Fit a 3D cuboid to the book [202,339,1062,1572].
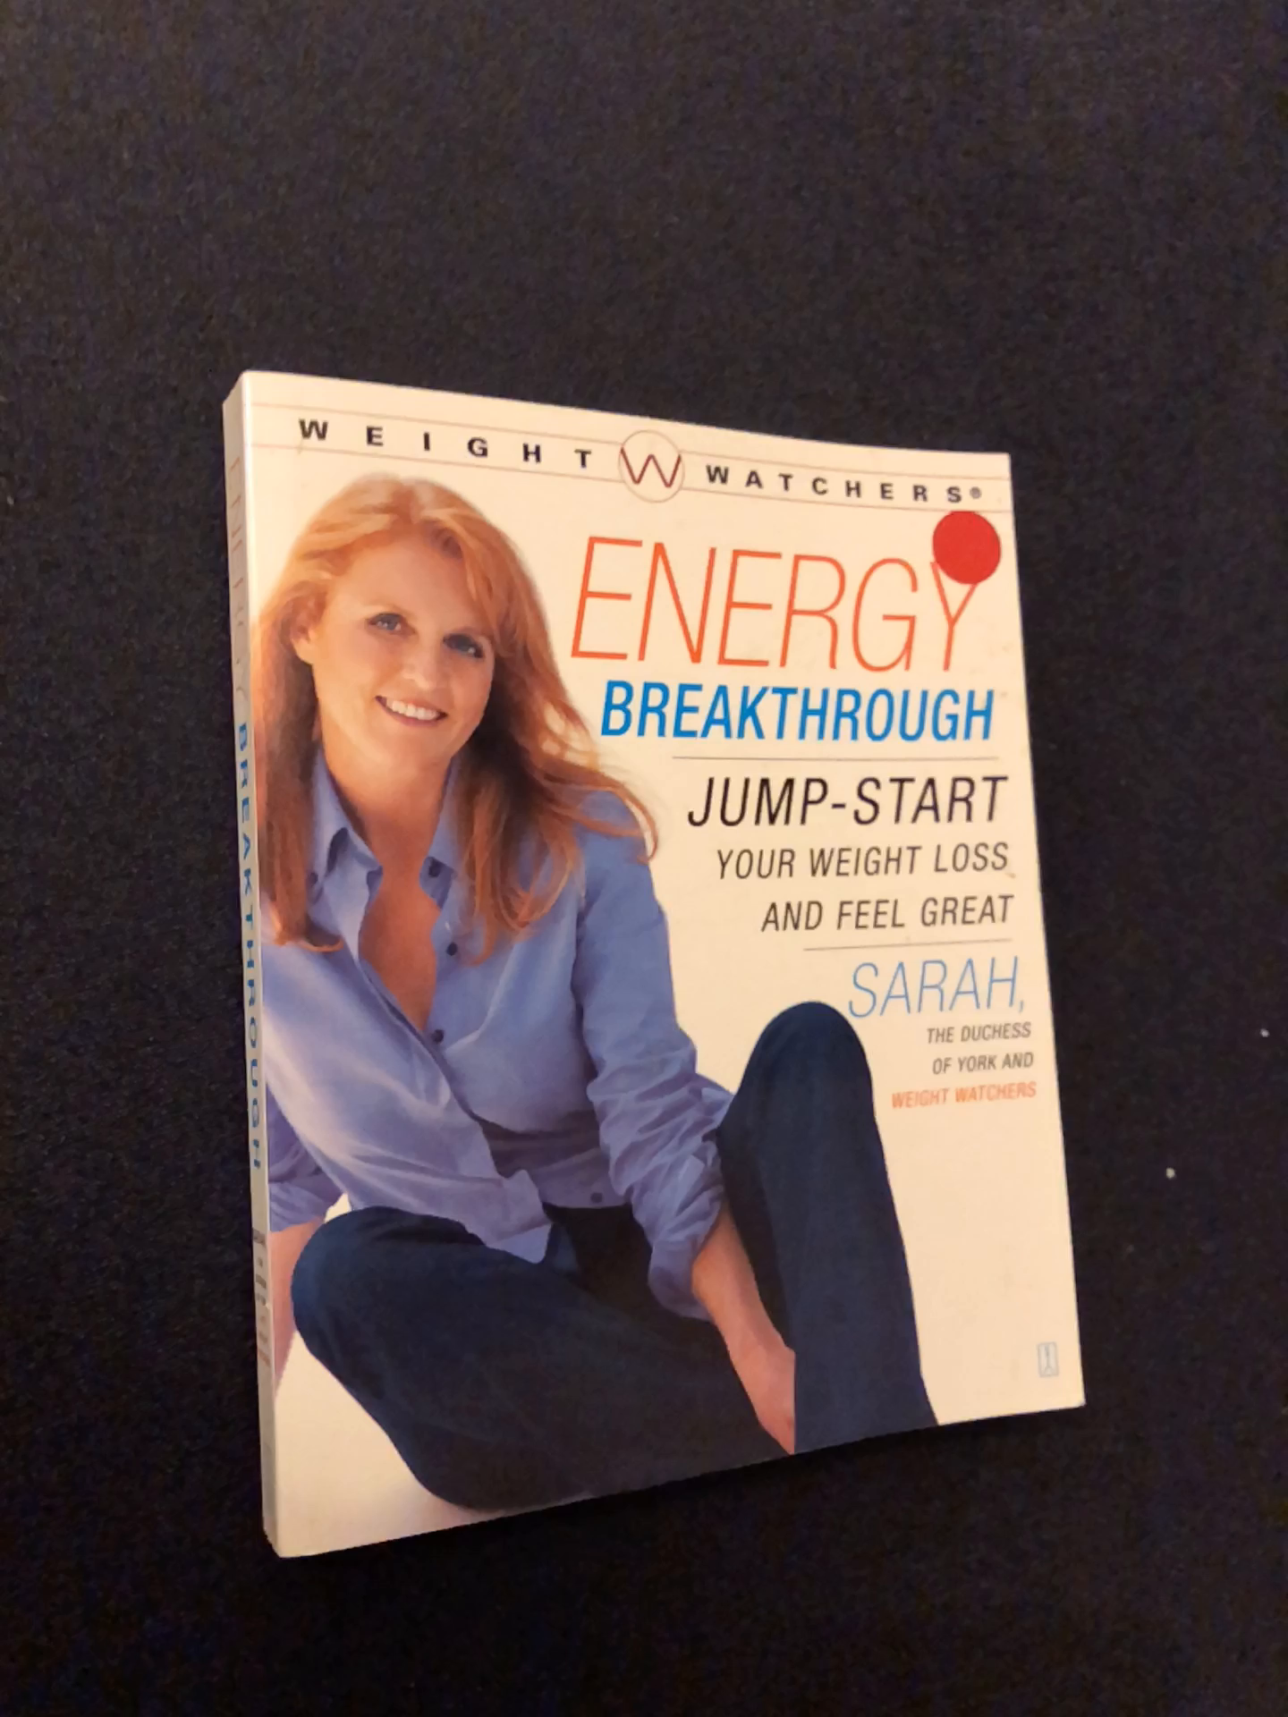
[{"bbox_3d":[0.001,0.014,0.323,0.186,0.030,0.234,-1,84,-24],"label":"book"}]
